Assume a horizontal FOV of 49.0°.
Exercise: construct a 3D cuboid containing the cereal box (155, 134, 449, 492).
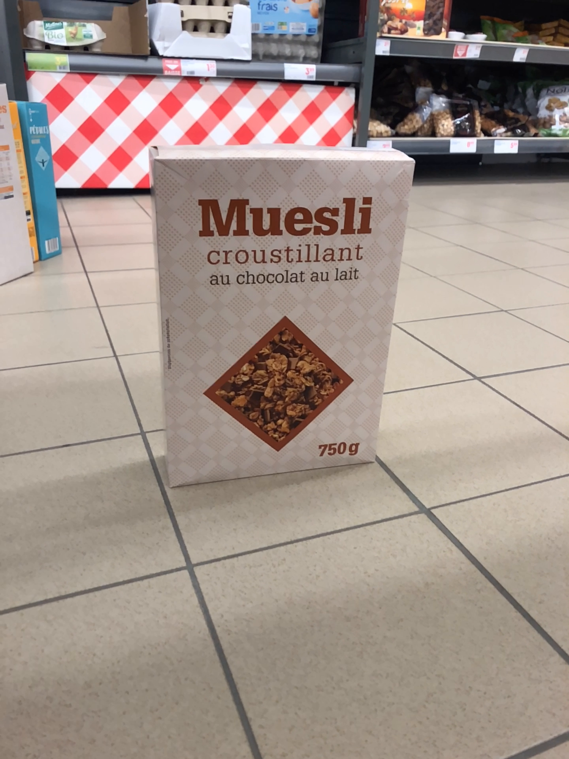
[{"bbox_3d":[0.007,-0.049,0.501,0.200,0.268,0.060,-4,27,-13],"label":"cereal box"}]
